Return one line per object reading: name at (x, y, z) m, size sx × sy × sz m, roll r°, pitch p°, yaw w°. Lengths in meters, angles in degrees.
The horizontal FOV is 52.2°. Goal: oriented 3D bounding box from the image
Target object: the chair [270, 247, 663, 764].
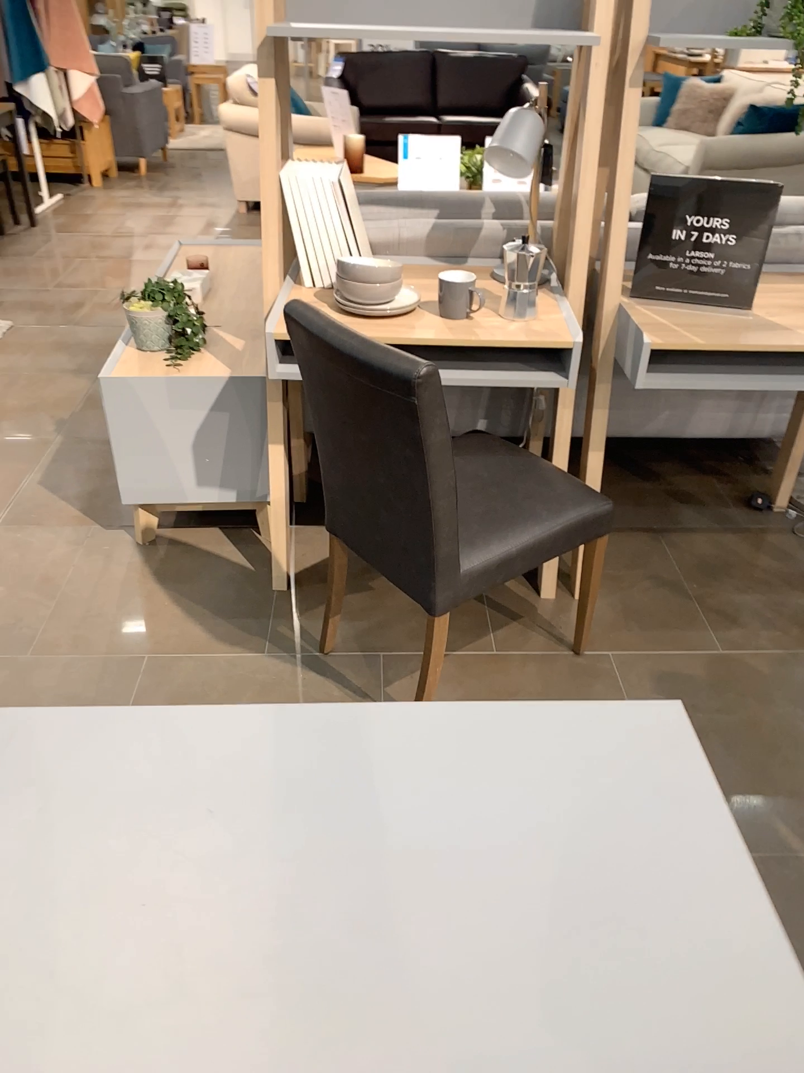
chair at (0.115, -0.091, 1.816) m, size 0.607 × 0.887 × 0.459 m, roll -22°, pitch 40°, yaw -32°
